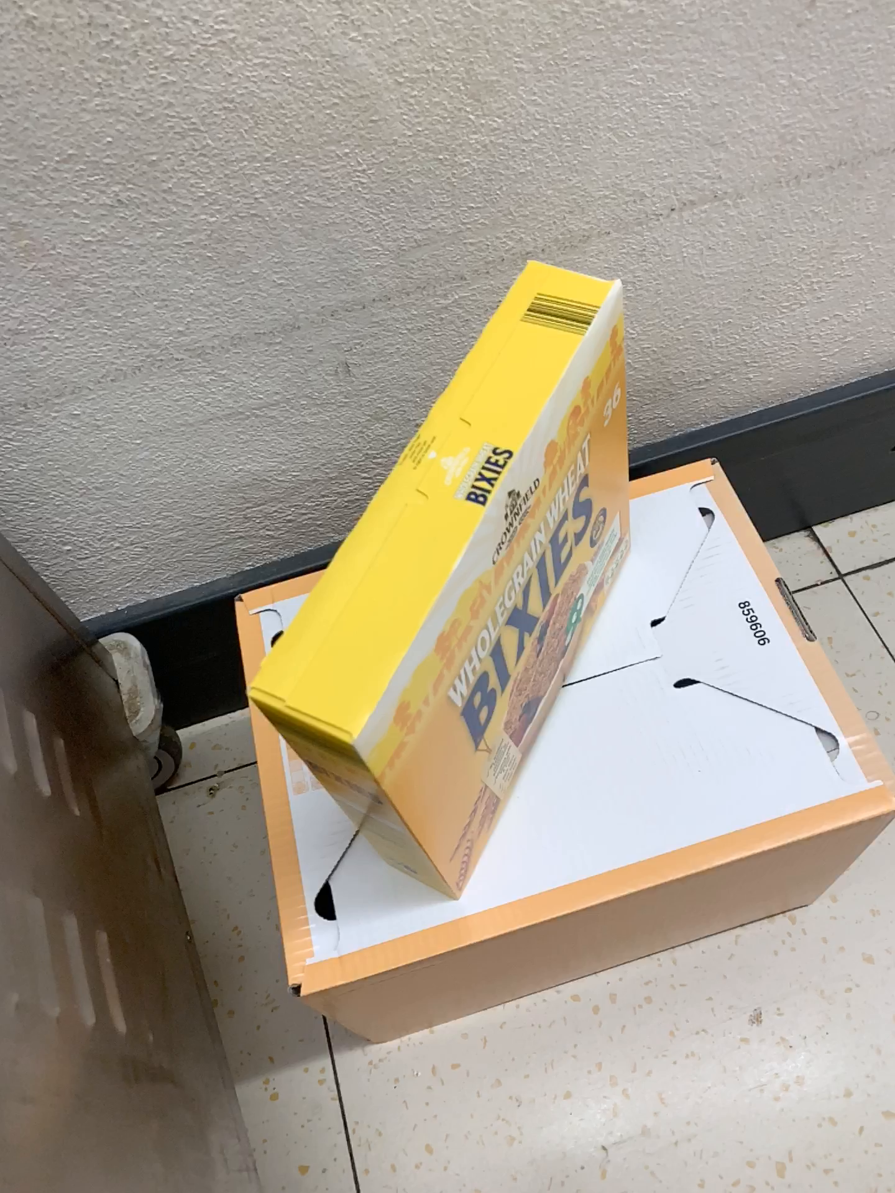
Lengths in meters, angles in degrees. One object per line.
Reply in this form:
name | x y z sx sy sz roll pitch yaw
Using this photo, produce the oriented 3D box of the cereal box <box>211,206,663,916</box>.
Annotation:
cereal box | 0.023 -0.003 0.513 0.070 0.278 0.291 21 63 19
